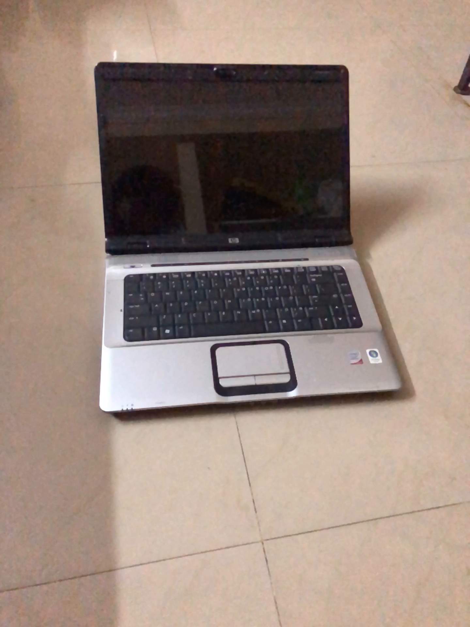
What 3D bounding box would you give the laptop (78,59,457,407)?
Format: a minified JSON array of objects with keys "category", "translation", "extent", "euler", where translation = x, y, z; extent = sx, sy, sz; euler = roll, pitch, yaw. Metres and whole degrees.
[{"category":"laptop","translation":[0.008,-0.124,0.636],"extent":[0.338,0.166,0.411],"euler":[-3,53,-8]}]
